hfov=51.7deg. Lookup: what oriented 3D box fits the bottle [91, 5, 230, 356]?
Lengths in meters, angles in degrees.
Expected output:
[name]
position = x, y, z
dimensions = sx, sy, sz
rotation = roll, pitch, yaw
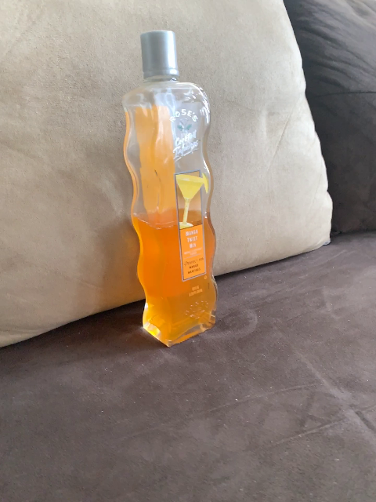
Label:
[bottle]
position = -0.021, -0.058, 0.386
dimensions = 0.080, 0.299, 0.080
rotation = -4, 17, 1
